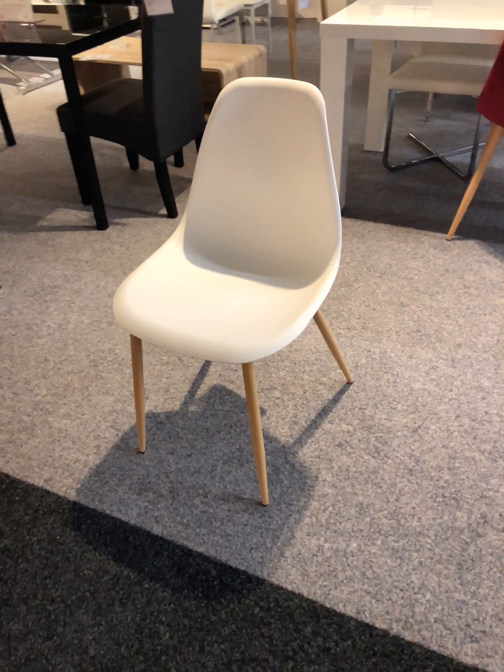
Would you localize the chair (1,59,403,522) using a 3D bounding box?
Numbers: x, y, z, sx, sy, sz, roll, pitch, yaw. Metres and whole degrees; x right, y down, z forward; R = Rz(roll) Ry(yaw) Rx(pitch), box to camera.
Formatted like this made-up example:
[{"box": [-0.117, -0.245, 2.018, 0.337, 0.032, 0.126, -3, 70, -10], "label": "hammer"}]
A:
[{"box": [-0.046, -0.135, 1.364, 0.570, 0.845, 0.604, 17, 43, 23], "label": "chair"}]
